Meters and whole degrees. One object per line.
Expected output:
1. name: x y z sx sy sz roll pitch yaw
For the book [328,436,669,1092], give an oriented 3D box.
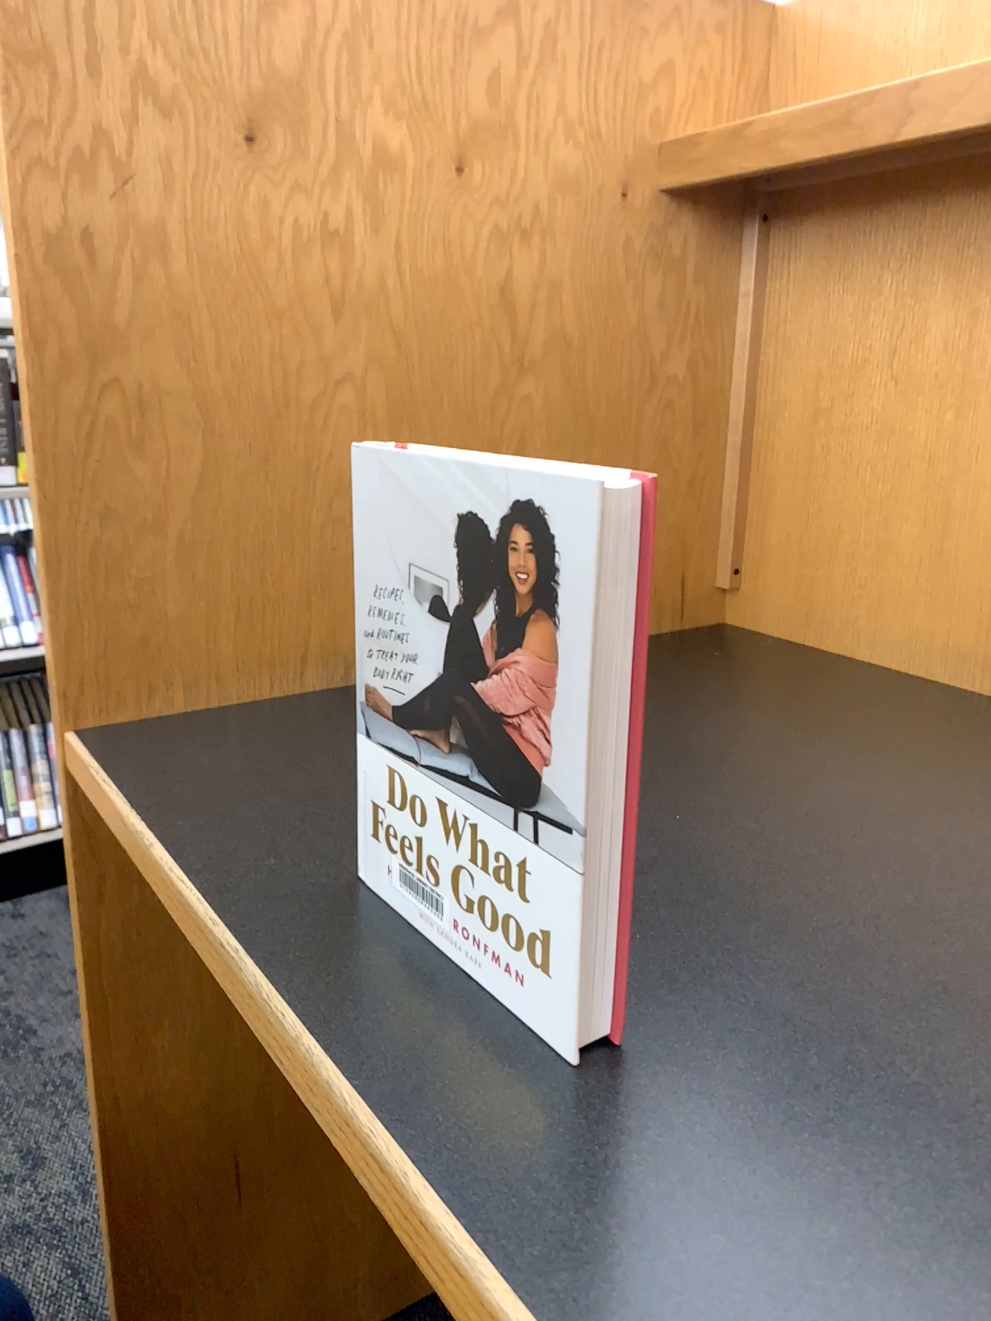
1. book: -0.013 0.029 0.471 0.030 0.249 0.211 -10 18 -35
